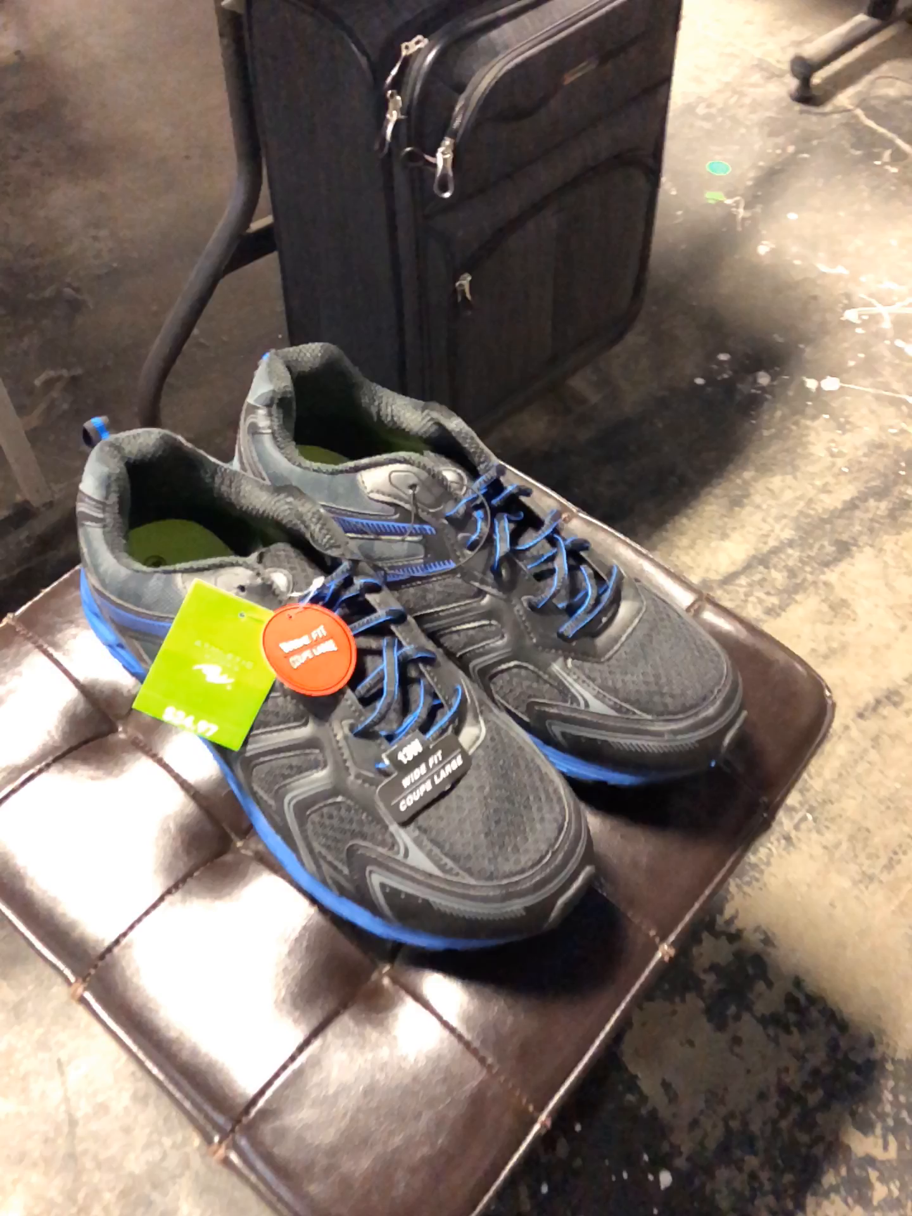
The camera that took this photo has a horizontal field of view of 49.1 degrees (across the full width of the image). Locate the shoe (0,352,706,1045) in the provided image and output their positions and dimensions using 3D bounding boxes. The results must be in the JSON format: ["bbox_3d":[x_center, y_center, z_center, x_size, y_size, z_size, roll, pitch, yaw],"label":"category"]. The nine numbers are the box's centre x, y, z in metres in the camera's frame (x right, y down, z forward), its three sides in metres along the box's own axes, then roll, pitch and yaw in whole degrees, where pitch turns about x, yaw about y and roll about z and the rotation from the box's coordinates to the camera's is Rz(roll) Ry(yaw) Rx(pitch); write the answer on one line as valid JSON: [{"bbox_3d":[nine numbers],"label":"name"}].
[{"bbox_3d":[-0.054,0.029,0.441,0.281,0.119,0.120,38,60,21],"label":"shoe"}]

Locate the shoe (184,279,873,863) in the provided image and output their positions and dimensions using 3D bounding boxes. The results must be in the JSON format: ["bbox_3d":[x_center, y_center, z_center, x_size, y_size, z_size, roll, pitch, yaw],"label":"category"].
[{"bbox_3d":[0.025,-0.031,0.512,0.311,0.099,0.131,34,59,19],"label":"shoe"}]
